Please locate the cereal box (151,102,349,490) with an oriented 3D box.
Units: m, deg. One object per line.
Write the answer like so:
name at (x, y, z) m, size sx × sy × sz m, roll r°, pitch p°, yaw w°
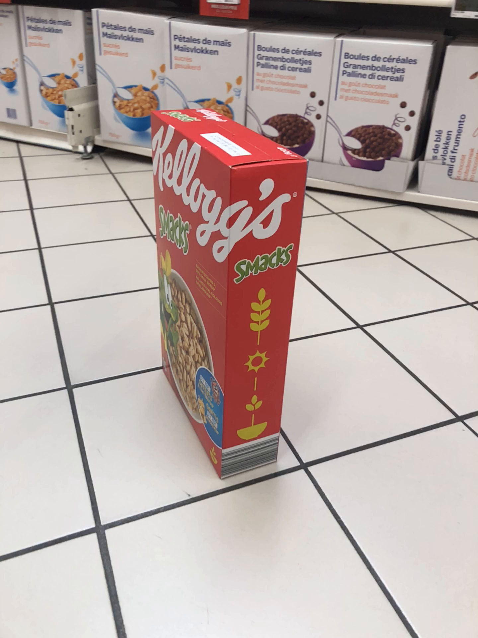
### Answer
cereal box at (-0.007, -0.027, 0.498) m, size 0.080 × 0.298 × 0.201 m, roll -12°, pitch 34°, yaw -21°
